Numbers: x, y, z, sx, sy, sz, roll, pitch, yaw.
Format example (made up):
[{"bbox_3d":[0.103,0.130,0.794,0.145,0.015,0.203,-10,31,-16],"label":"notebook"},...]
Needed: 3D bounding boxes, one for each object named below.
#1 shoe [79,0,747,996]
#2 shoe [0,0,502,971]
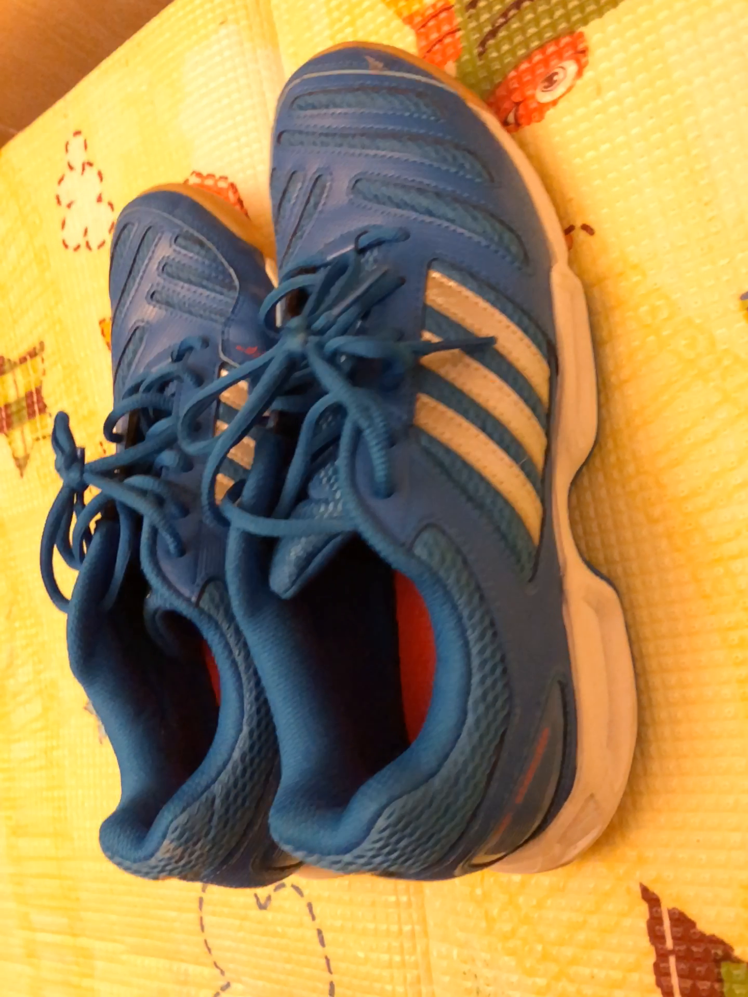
[{"bbox_3d":[0.010,-0.026,0.257,0.111,0.119,0.290,-18,77,36],"label":"shoe"},{"bbox_3d":[-0.065,-0.008,0.316,0.111,0.139,0.290,-19,77,36],"label":"shoe"}]
